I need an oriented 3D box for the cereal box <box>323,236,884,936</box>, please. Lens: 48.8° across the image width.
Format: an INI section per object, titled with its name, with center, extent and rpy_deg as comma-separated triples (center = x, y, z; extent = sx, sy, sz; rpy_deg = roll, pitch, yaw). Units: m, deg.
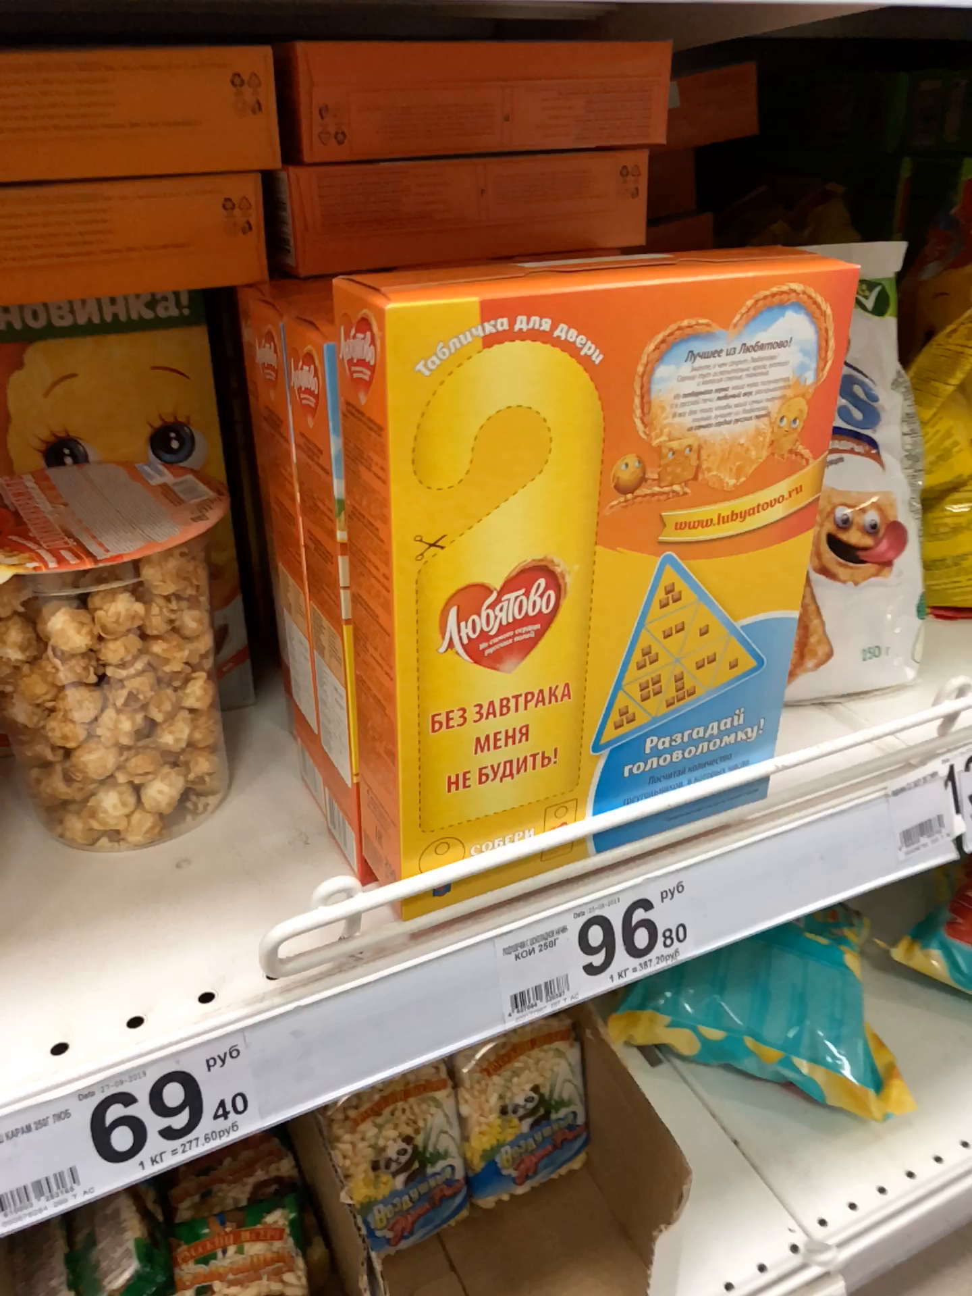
[cereal box]
center = 0.040, -0.023, 0.399
extent = 0.180, 0.229, 0.050
rpy_deg = -13, 32, -24
